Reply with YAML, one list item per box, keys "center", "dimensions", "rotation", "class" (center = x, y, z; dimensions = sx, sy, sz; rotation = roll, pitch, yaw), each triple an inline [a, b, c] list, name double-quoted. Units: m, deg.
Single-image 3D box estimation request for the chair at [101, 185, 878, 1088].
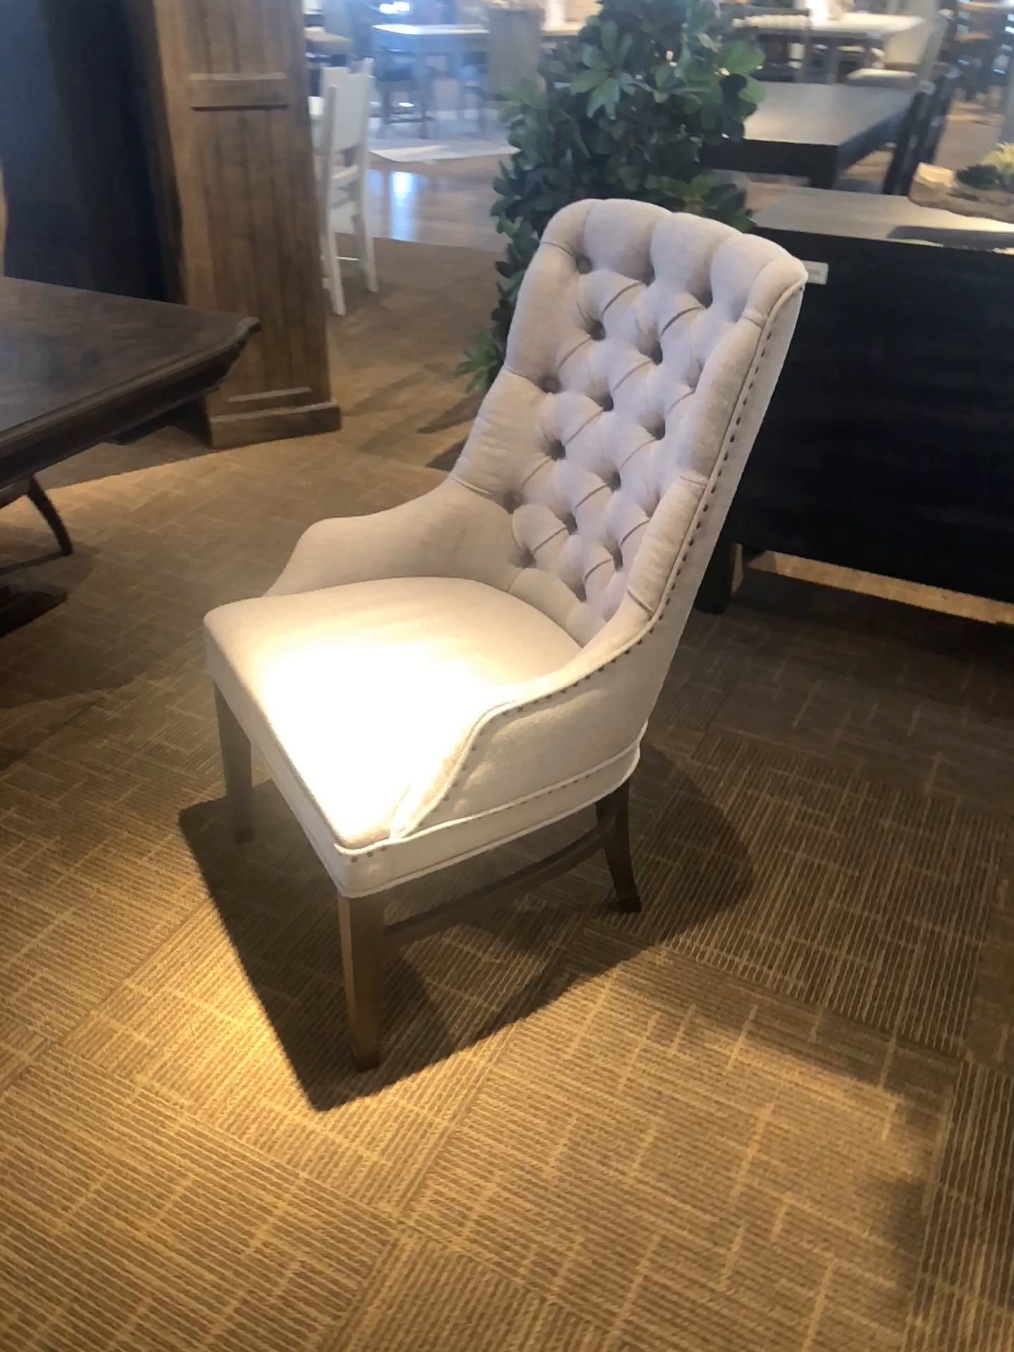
- center: [-0.057, -0.105, 1.653]
  dimensions: [0.761, 1.015, 0.642]
  rotation: [-15, 36, -23]
  class: "chair"
